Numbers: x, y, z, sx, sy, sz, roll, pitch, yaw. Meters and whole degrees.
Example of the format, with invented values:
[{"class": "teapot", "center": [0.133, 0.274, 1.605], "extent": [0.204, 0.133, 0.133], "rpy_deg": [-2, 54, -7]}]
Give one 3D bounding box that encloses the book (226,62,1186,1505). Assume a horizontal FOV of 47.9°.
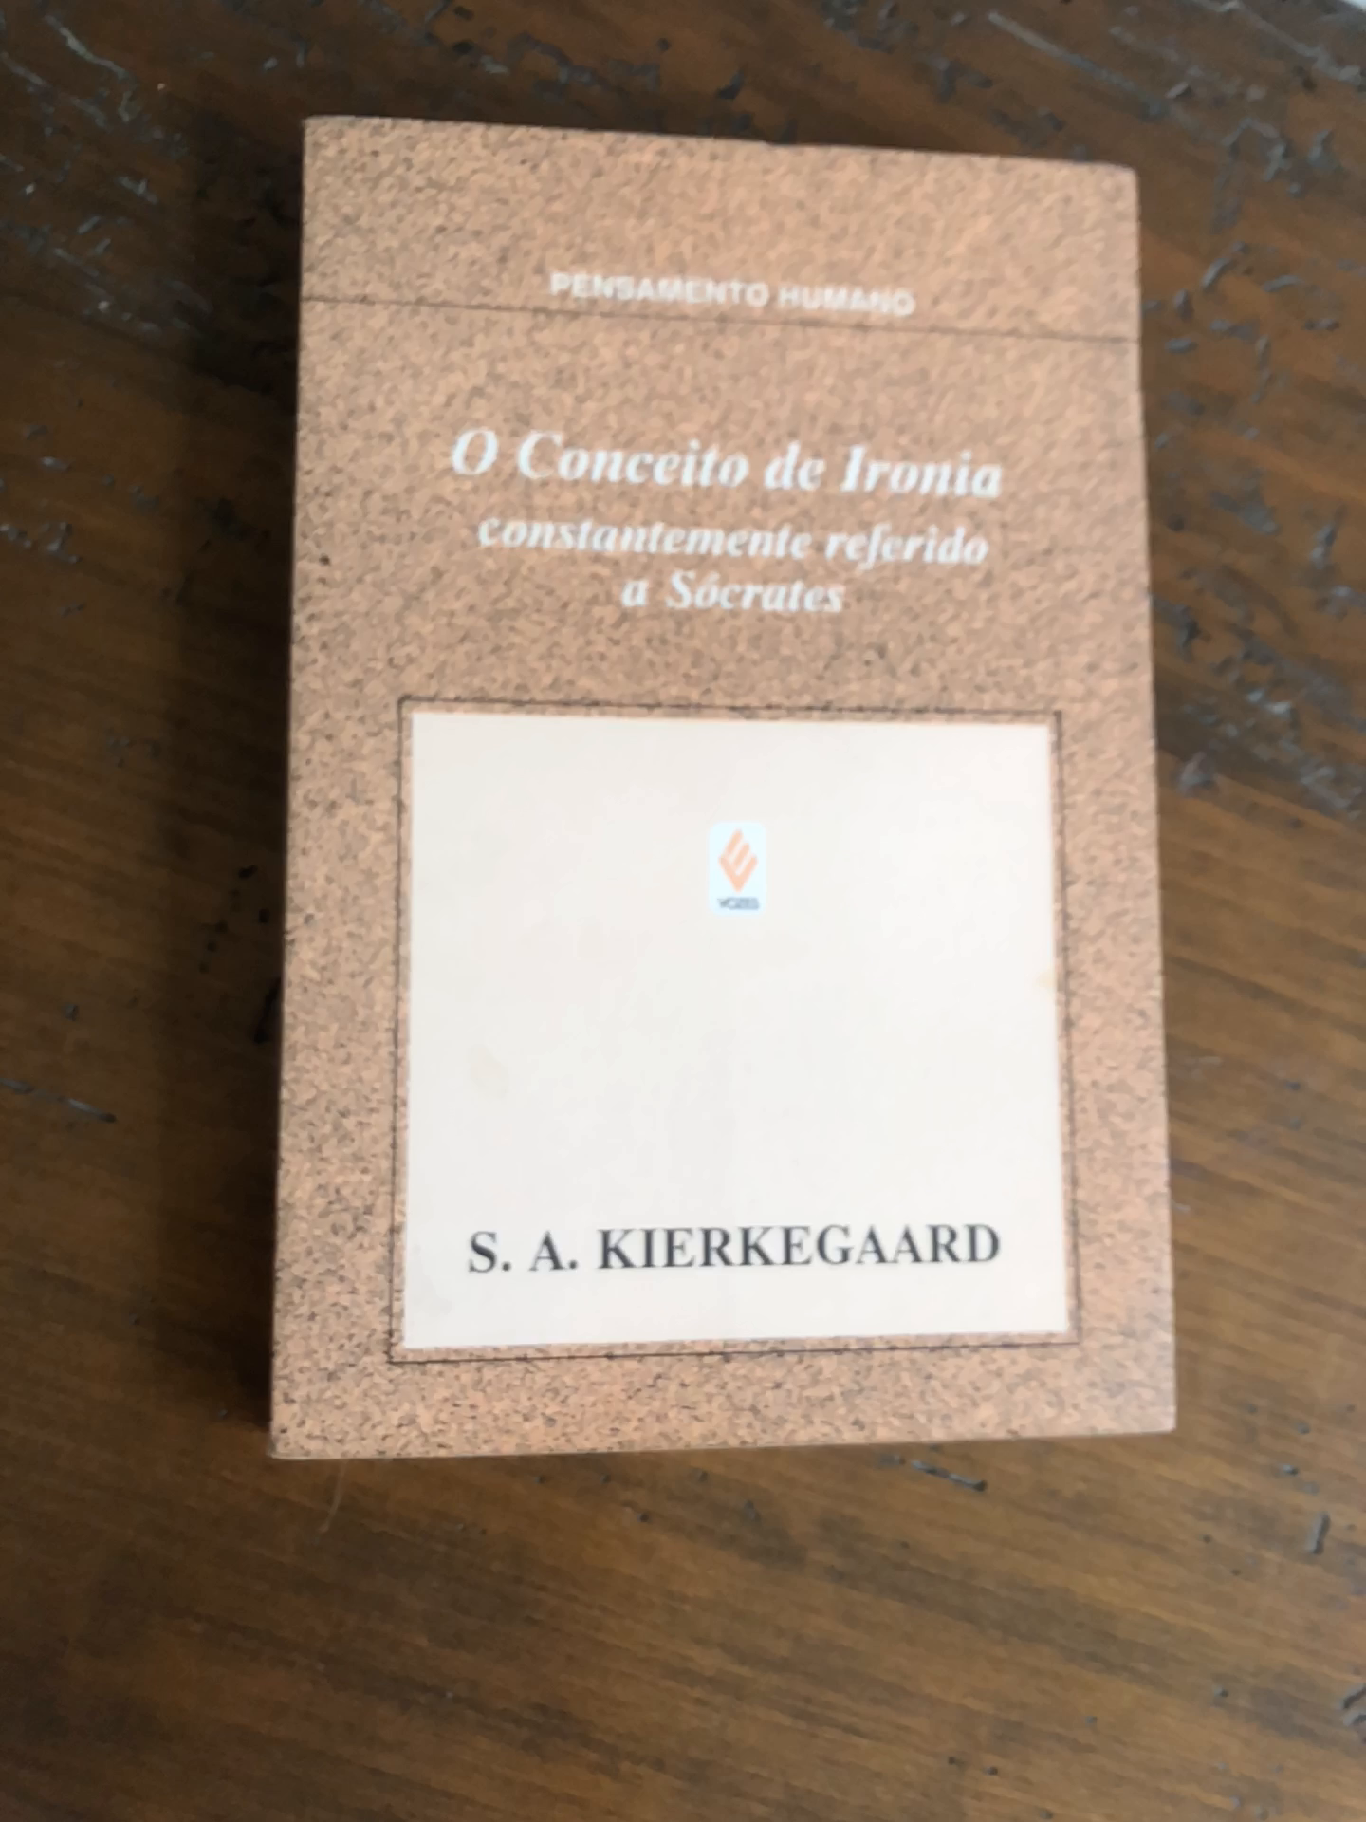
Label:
[{"class": "book", "center": [0.005, -0.023, 0.252], "extent": [0.144, 0.024, 0.220], "rpy_deg": [1, 84, -7]}]
